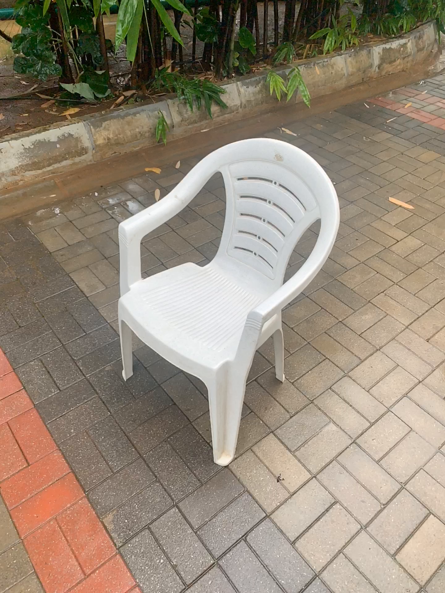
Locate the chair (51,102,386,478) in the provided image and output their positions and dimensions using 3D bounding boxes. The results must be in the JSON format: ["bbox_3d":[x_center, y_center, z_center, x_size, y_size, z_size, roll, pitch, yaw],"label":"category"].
[{"bbox_3d":[-0.011,-0.029,1.343,0.561,0.777,0.571,32,51,27],"label":"chair"}]
